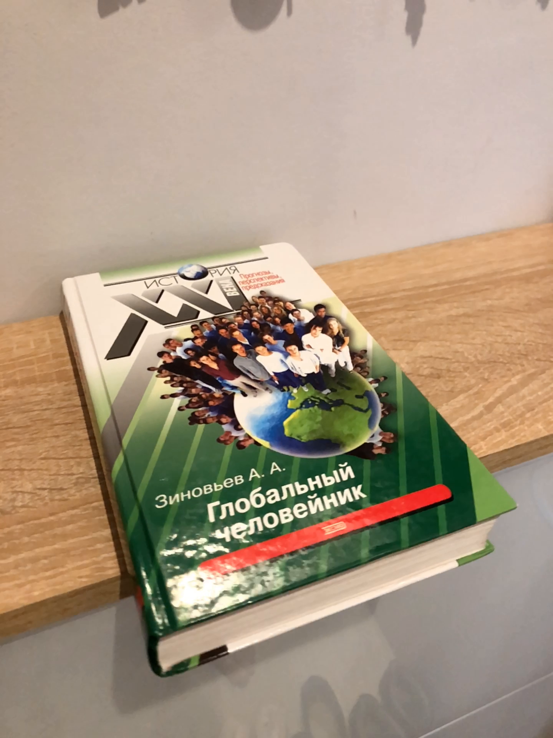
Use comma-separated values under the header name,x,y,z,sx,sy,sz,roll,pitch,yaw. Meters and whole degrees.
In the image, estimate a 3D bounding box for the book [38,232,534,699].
name,x,y,z,sx,sy,sz,roll,pitch,yaw
book,-0.019,0.007,0.271,0.140,0.020,0.221,-13,42,-18
